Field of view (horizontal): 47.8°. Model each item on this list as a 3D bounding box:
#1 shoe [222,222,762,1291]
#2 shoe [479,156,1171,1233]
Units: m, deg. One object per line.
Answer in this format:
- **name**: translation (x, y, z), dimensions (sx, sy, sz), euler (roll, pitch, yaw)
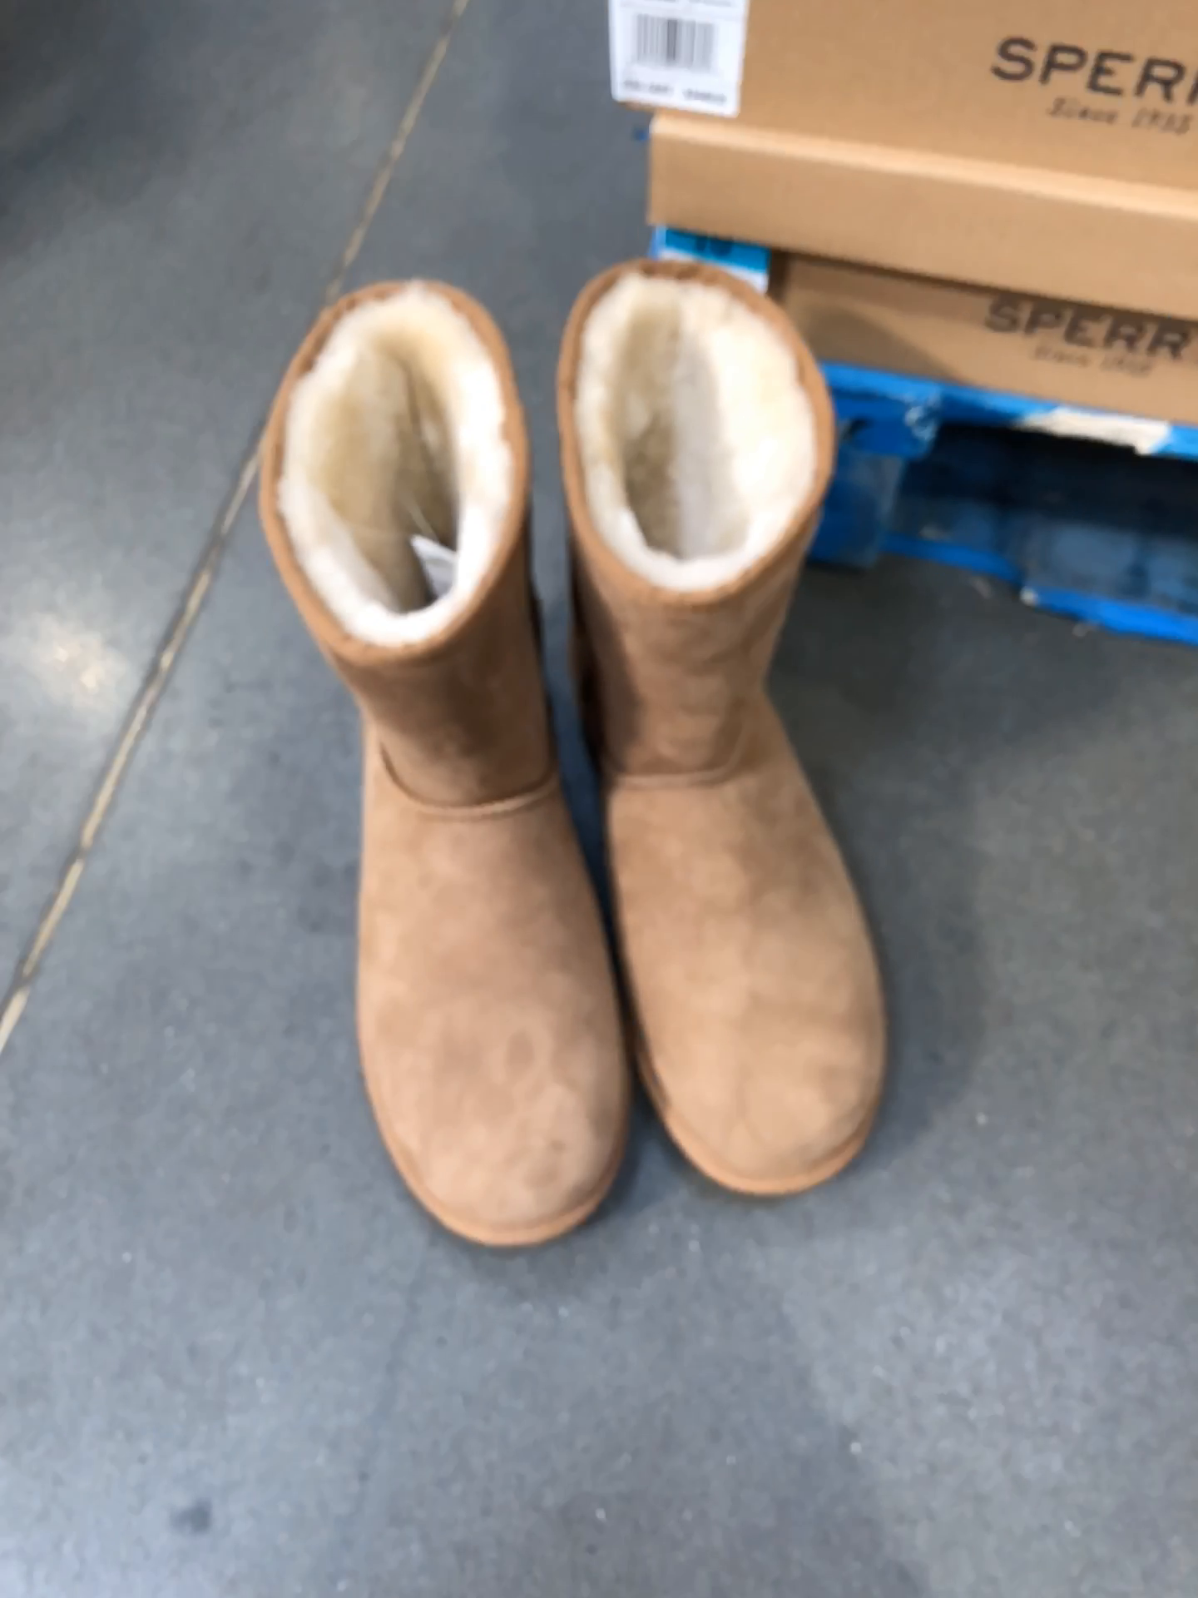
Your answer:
- **shoe**: translation (-0.041, 0.003, 0.518), dimensions (0.130, 0.260, 0.310), euler (-8, 64, -2)
- **shoe**: translation (0.056, -0.022, 0.524), dimensions (0.130, 0.260, 0.310), euler (-11, 65, -3)
